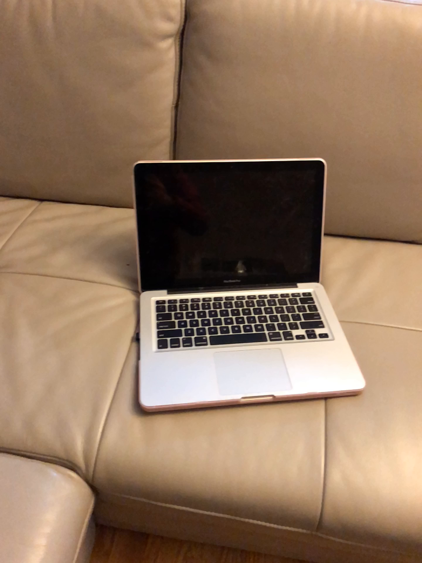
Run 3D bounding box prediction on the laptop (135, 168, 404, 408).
[{"bbox_3d":[0.052,-0.010,0.694,0.308,0.166,0.324,-3,45,-6],"label":"laptop"}]
